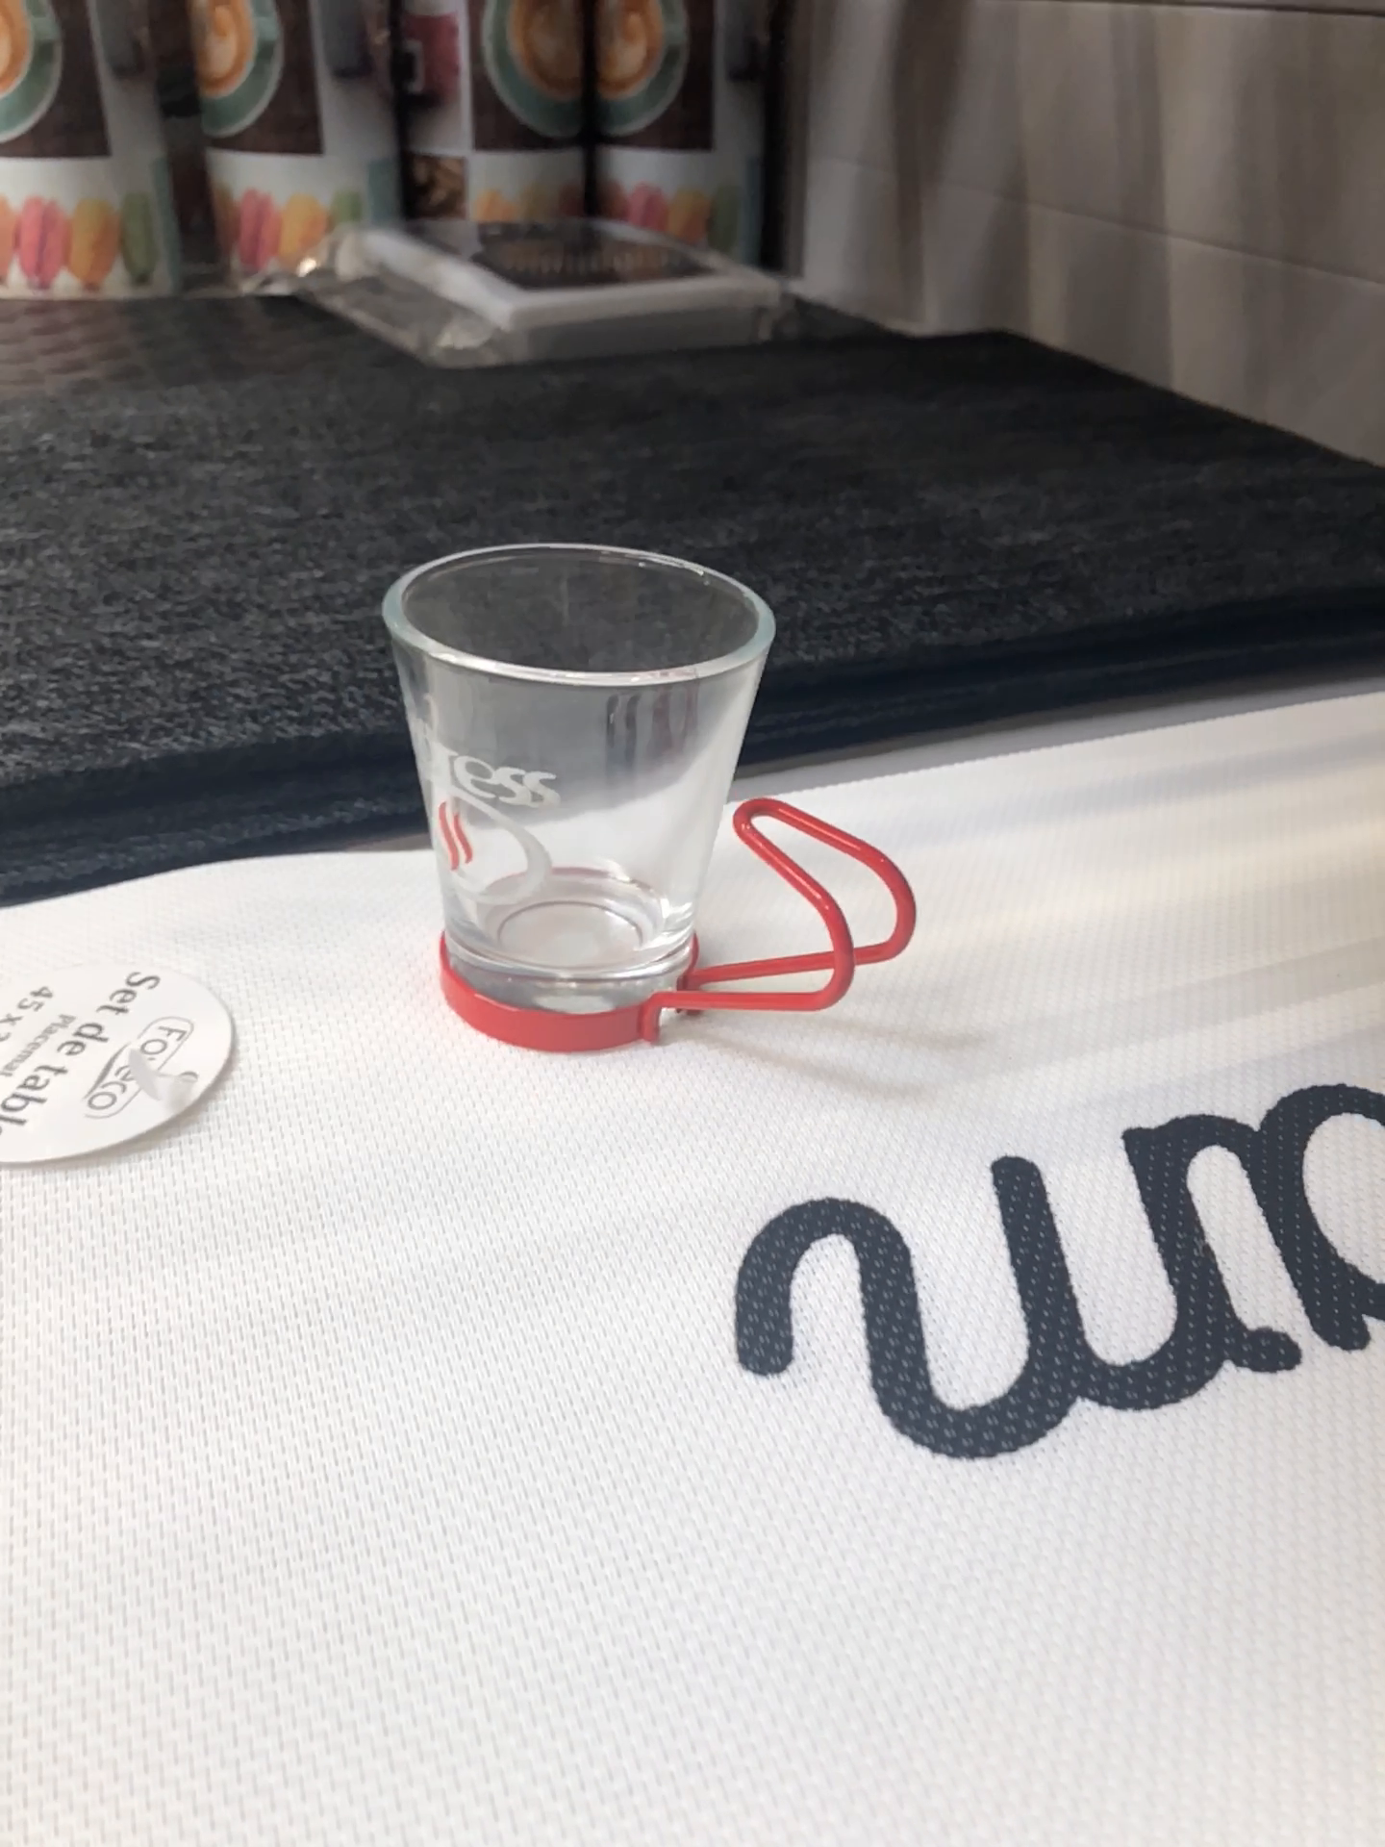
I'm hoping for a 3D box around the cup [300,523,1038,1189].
[{"bbox_3d":[-0.006,-0.016,0.240,0.092,0.063,0.056,21,33,26],"label":"cup"}]
